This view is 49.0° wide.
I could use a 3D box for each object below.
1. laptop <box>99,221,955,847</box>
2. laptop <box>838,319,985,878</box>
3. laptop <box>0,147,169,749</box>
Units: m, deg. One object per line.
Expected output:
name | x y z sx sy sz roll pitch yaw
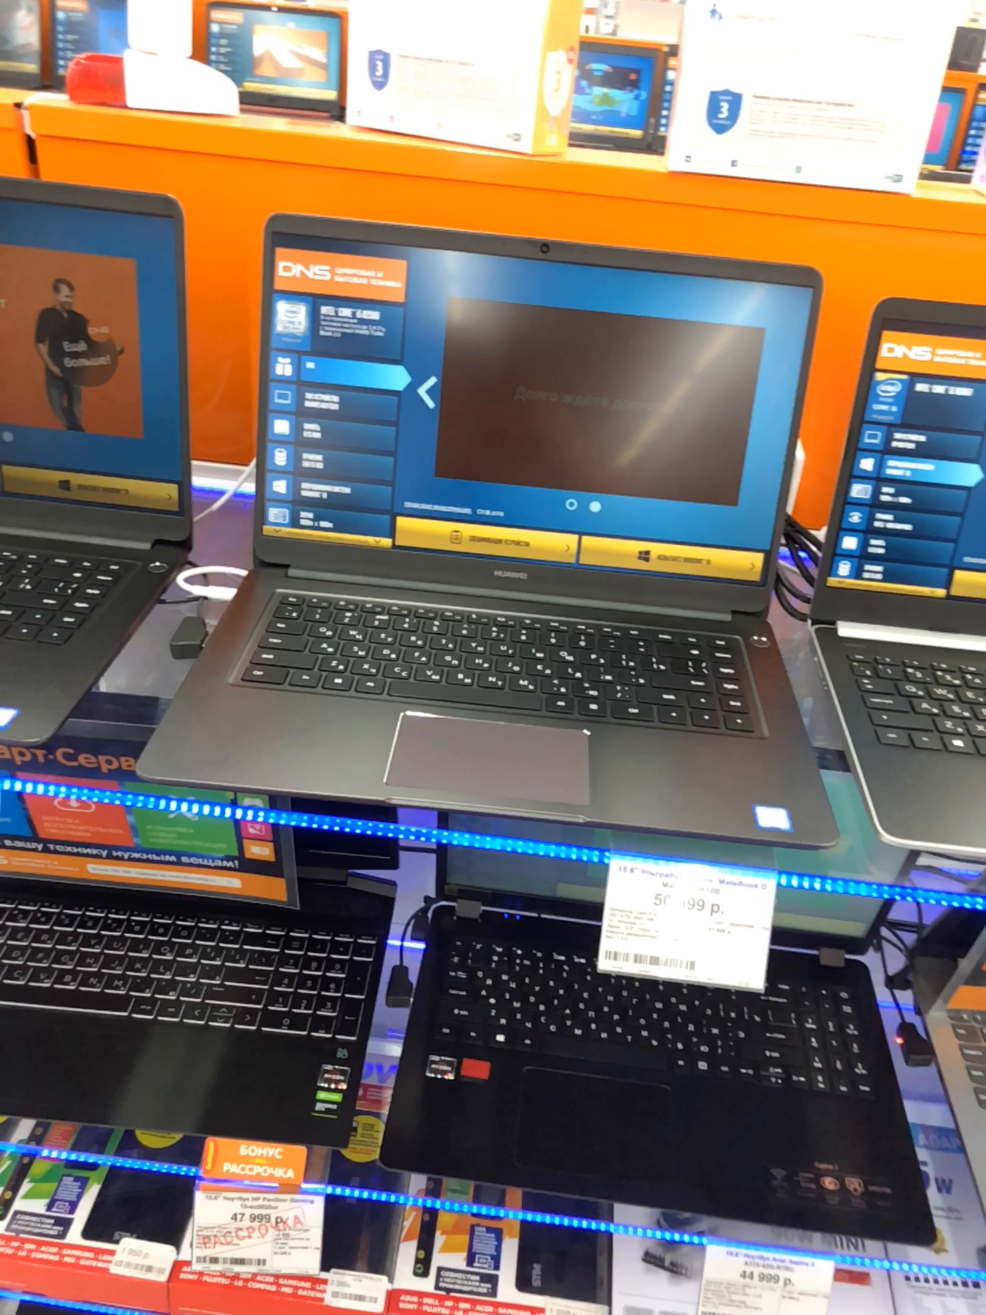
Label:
laptop | 0.011 -0.089 0.603 0.338 0.212 0.289 6 31 0
laptop | 0.362 -0.049 0.582 0.269 0.195 0.244 5 32 6
laptop | -0.387 -0.133 0.604 0.355 0.230 0.242 6 30 0
